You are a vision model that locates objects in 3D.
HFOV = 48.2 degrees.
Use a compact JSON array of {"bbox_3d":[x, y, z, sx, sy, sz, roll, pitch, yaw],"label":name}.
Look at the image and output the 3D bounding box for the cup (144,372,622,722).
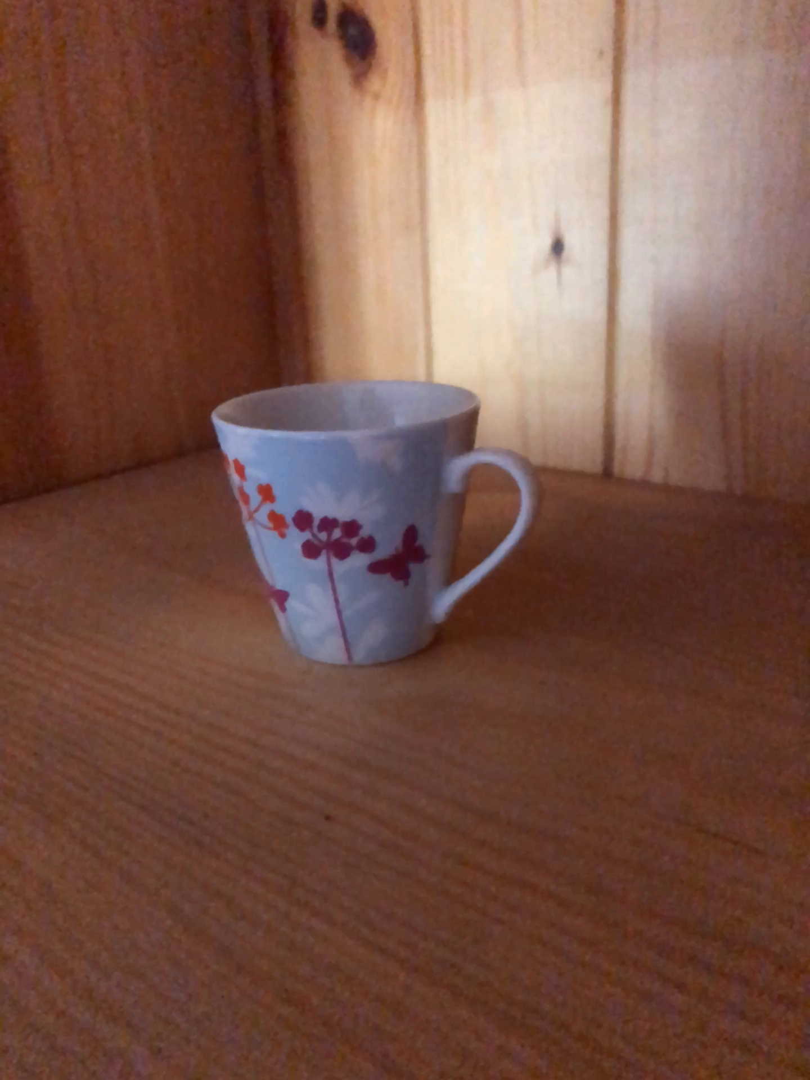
[{"bbox_3d":[-0.002,-0.006,0.207,0.080,0.050,0.070,10,22,31],"label":"cup"}]
